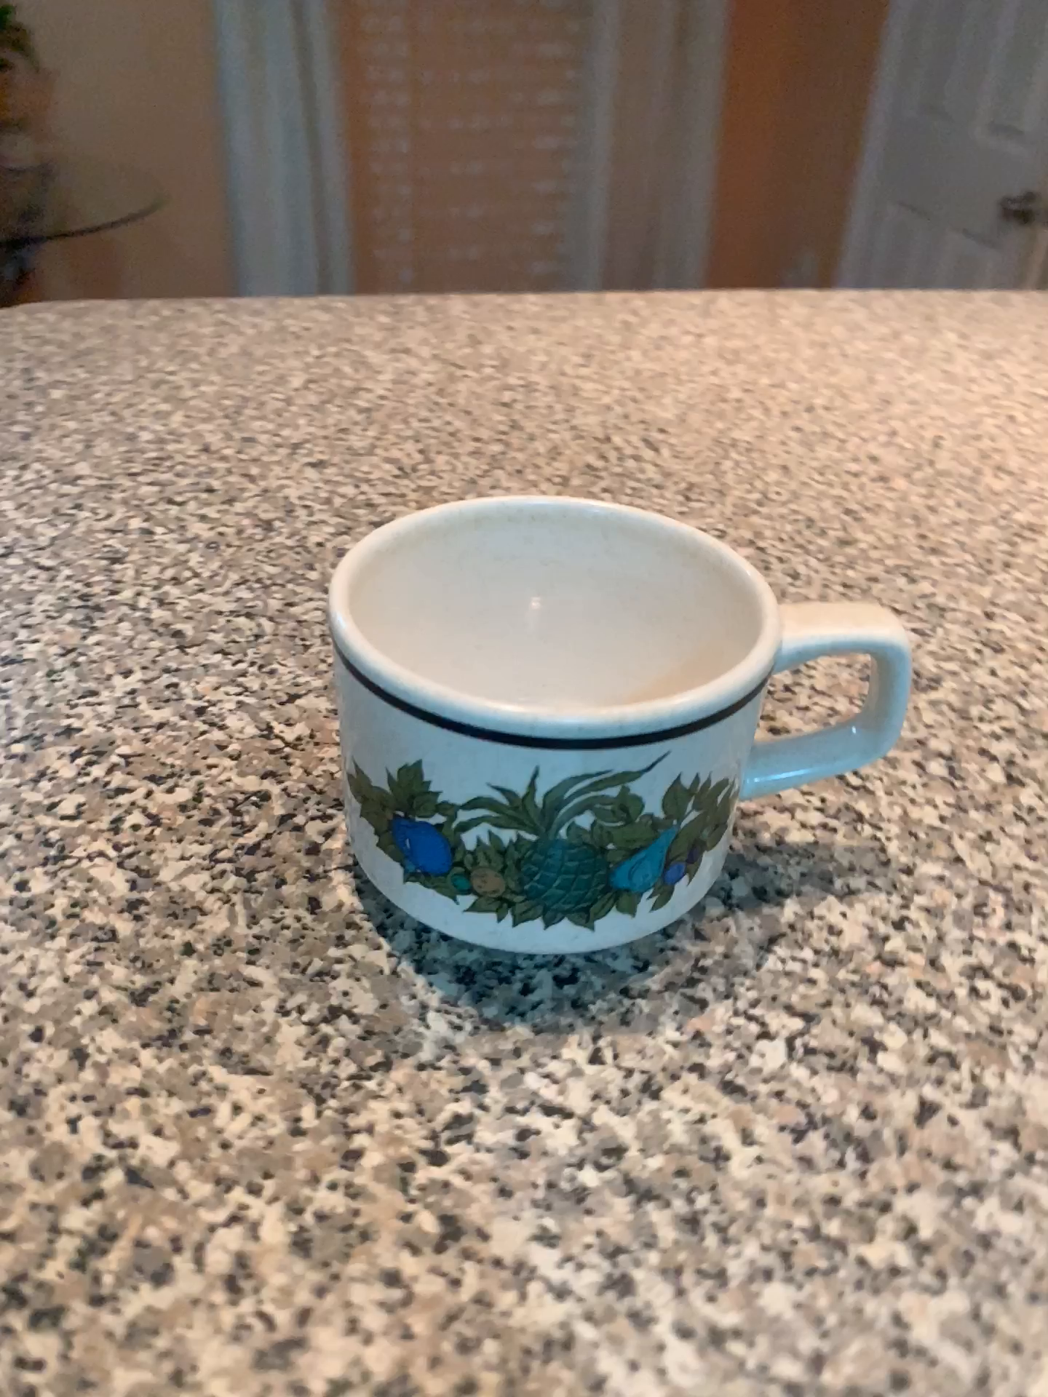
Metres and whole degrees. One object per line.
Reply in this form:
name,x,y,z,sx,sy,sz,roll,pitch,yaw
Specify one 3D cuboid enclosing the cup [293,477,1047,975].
cup,0.020,0.000,0.215,0.117,0.054,0.088,0,35,-5
